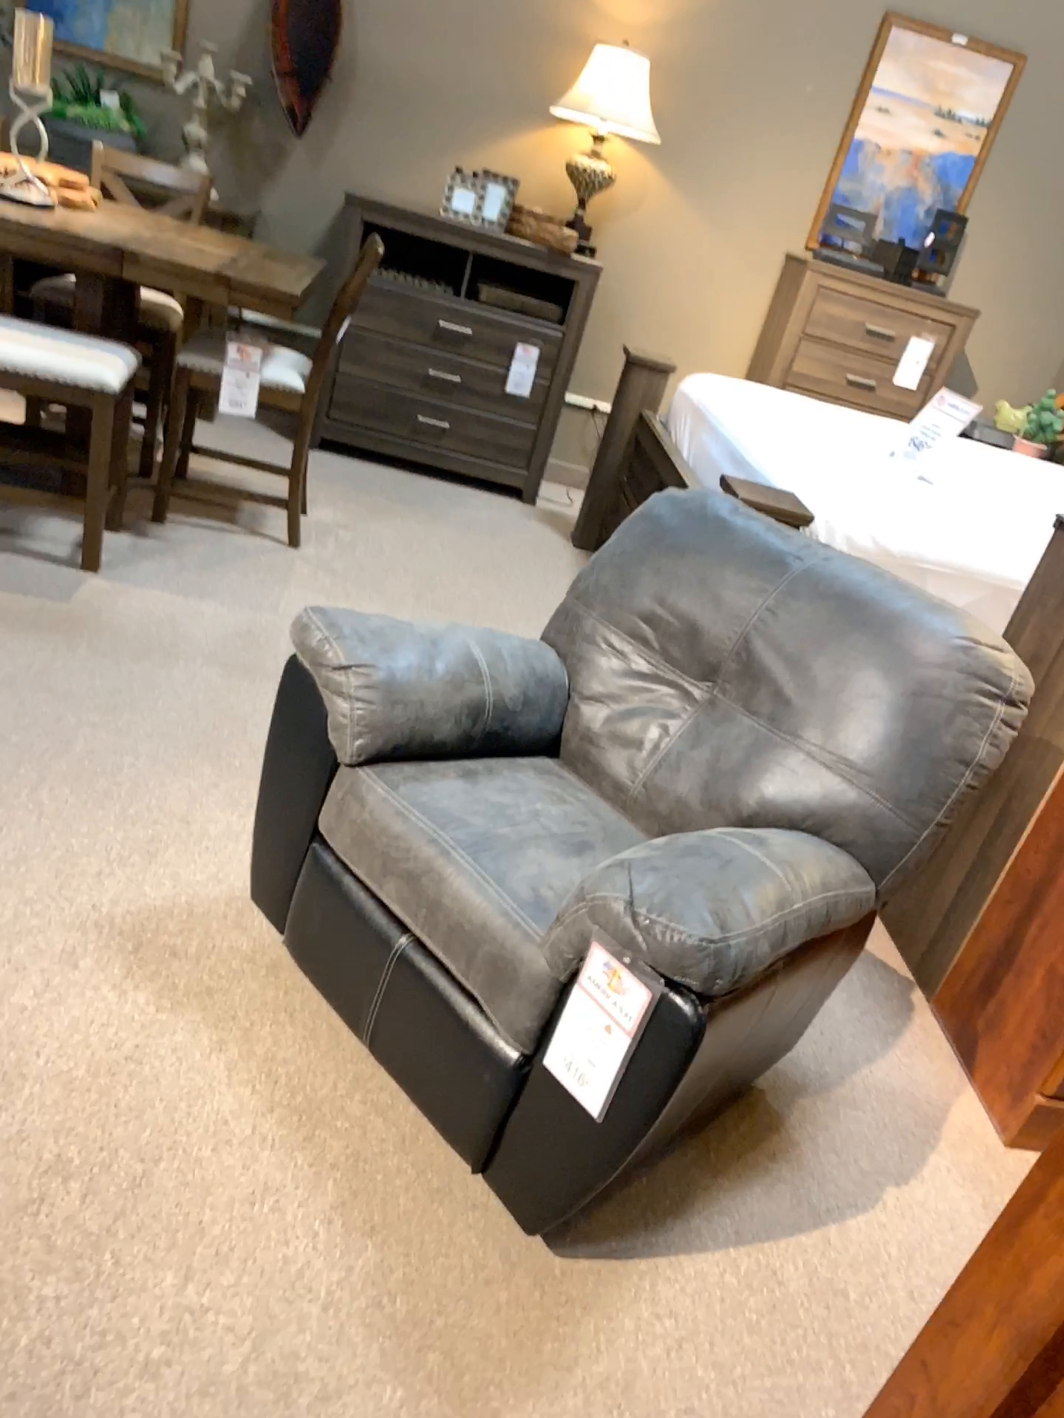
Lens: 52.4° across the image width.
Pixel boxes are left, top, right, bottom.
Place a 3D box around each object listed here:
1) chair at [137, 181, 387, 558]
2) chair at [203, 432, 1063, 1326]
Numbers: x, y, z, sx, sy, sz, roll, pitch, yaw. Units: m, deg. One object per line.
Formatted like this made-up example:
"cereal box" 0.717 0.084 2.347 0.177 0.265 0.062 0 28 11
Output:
"chair" -0.893 -1.115 3.593 0.624 1.002 0.490 9 27 -14
"chair" 0.131 0.149 1.895 0.907 0.922 0.990 -11 37 -43
